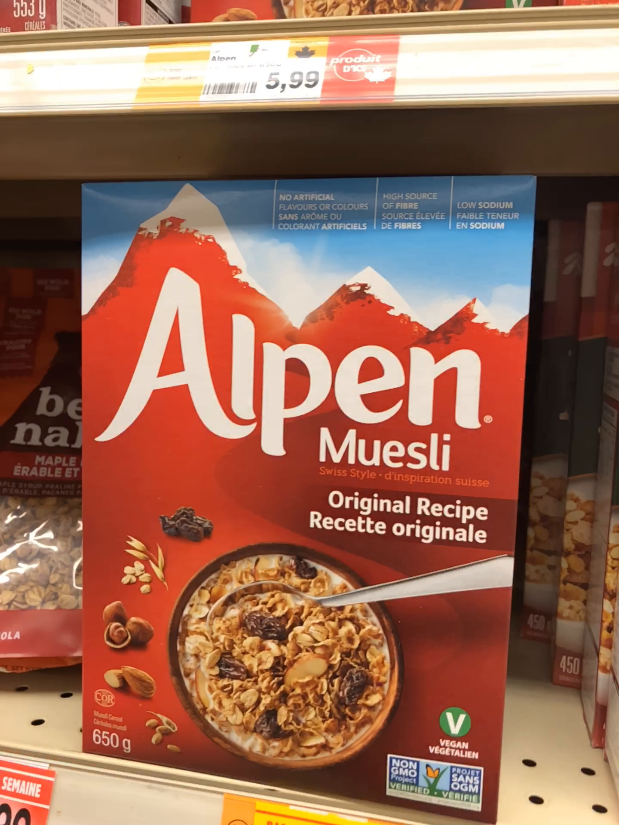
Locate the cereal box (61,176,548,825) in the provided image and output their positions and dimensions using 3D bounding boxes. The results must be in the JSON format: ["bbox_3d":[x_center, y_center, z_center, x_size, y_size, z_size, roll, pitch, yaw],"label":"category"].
[{"bbox_3d":[-0.006,0.030,0.293,0.180,0.239,0.060,3,7,11],"label":"cereal box"}]
